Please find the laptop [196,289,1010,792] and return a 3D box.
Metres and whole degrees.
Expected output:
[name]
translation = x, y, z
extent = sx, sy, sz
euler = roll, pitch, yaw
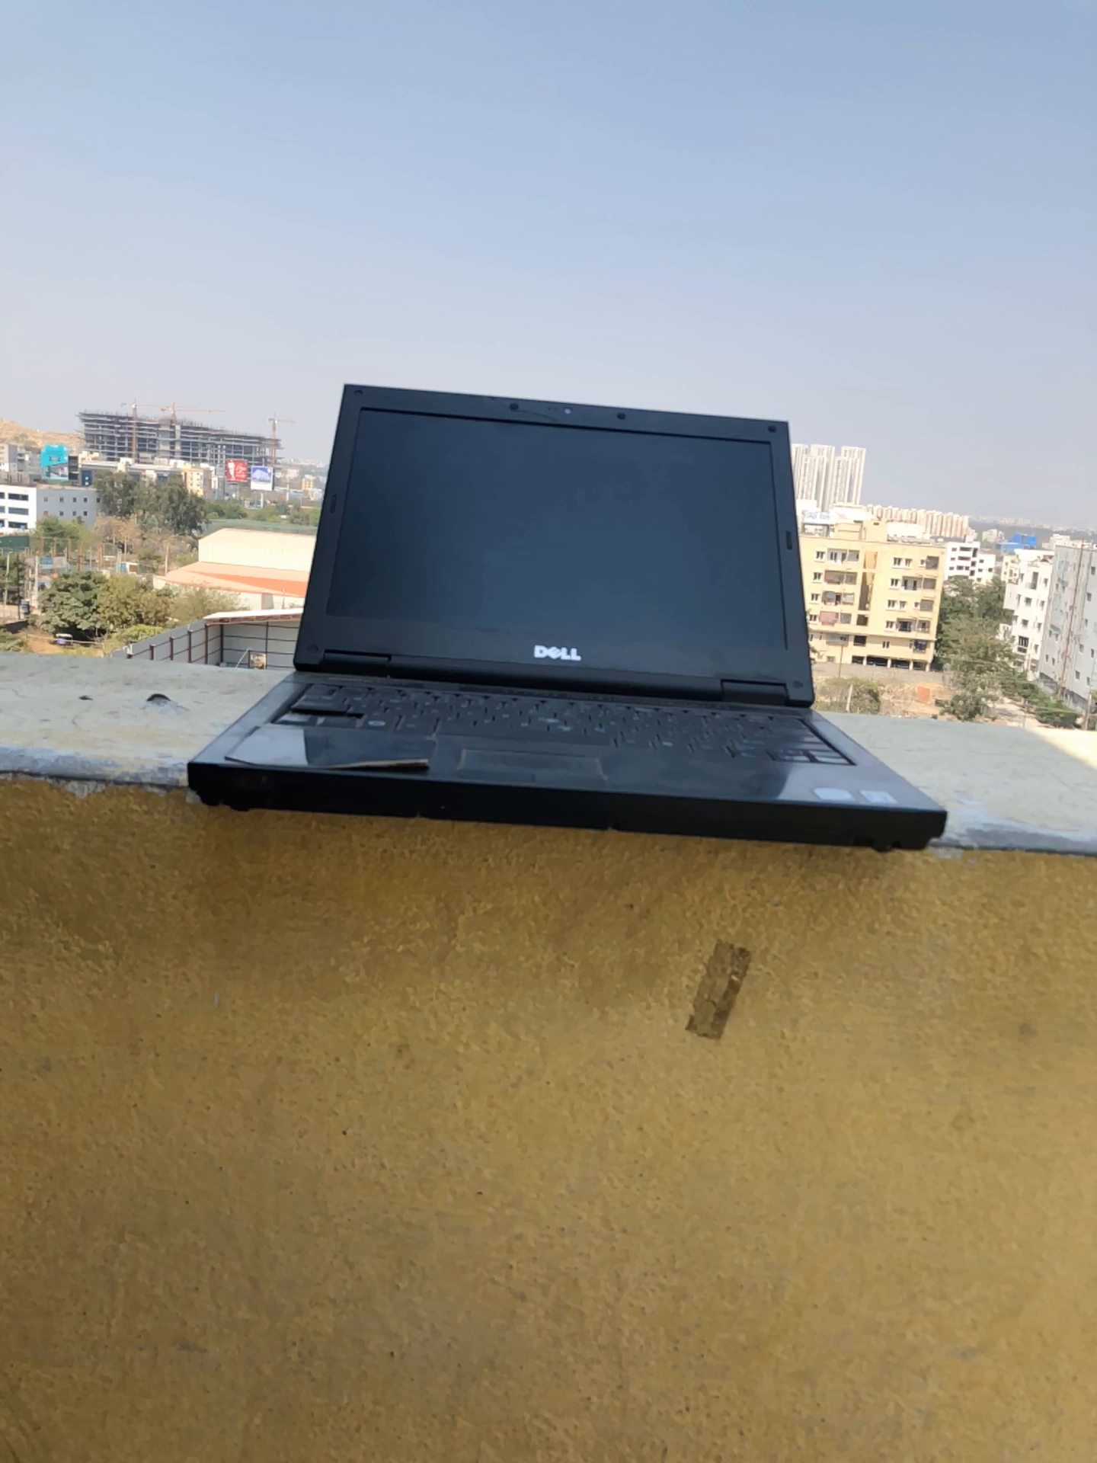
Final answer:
[laptop]
translation = 0.016, -0.102, 0.647
extent = 0.301, 0.178, 0.377
euler = 3, 10, -1
